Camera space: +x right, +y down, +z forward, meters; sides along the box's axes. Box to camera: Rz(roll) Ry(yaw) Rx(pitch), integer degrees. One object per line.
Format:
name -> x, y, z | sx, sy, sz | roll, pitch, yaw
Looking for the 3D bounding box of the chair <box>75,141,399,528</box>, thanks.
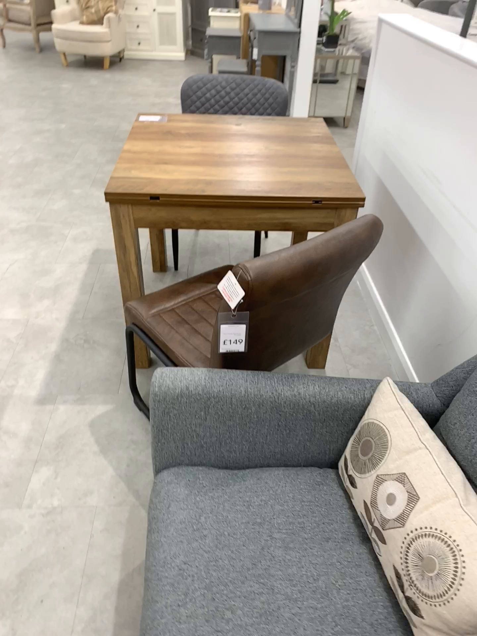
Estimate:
chair -> -0.041, 0.014, 1.406 | 0.499, 0.773, 0.636 | -24, 45, -29
